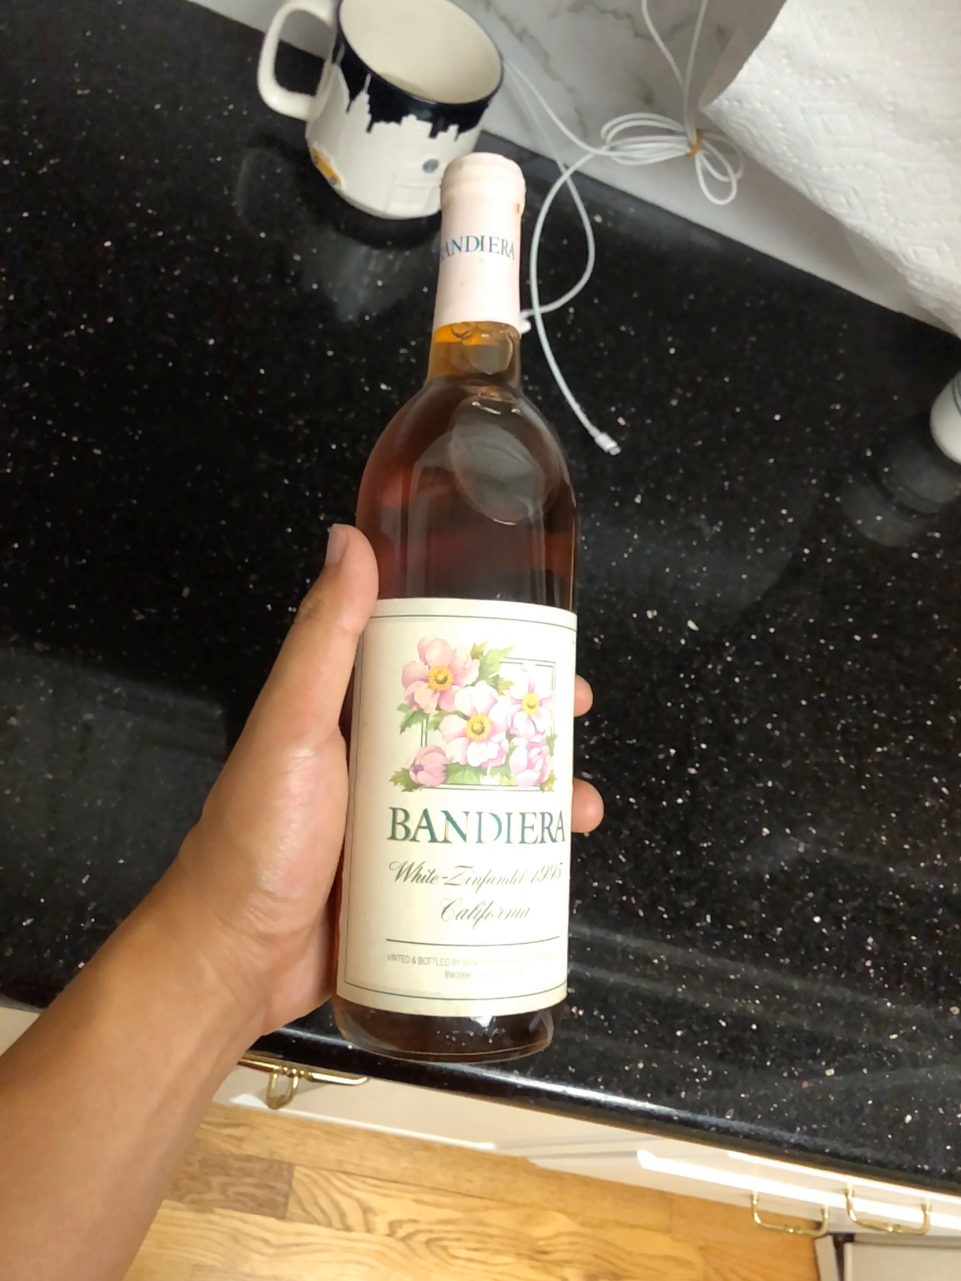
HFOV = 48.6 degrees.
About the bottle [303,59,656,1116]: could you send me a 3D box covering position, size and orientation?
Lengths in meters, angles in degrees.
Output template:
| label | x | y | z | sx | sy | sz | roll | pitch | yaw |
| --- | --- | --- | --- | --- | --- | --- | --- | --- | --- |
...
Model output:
| label | x | y | z | sx | sy | sz | roll | pitch | yaw |
| --- | --- | --- | --- | --- | --- | --- | --- | --- | --- |
| bottle | 0.000 | -0.017 | 0.344 | 0.080 | 0.070 | 0.300 | 6 | 82 | -19 |
